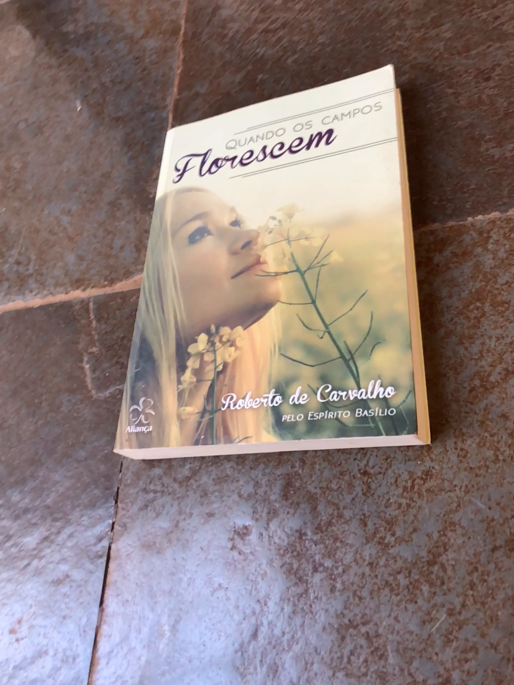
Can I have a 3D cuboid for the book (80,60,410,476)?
[{"bbox_3d":[-0.006,-0.044,0.316,0.161,0.022,0.226,-8,63,22],"label":"book"}]
